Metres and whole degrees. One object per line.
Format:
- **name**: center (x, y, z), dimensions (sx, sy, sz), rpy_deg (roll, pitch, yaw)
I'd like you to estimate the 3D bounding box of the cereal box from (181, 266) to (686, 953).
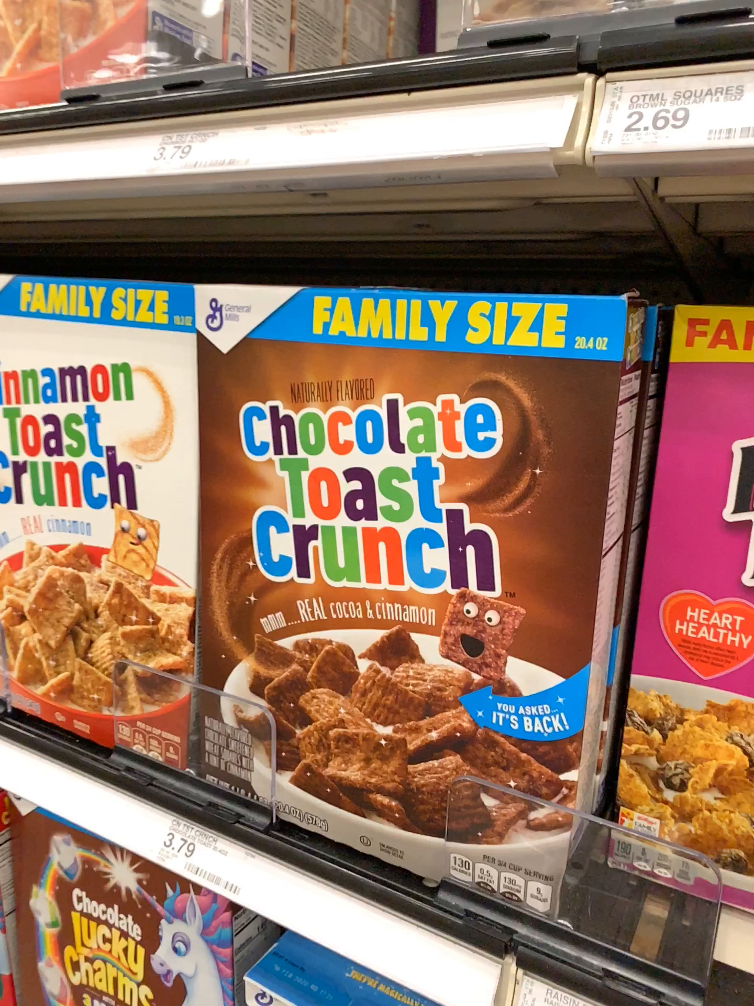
- **cereal box**: center (0.013, 0.038, 0.412), dimensions (0.240, 0.309, 0.060), rpy_deg (9, 15, 27)
